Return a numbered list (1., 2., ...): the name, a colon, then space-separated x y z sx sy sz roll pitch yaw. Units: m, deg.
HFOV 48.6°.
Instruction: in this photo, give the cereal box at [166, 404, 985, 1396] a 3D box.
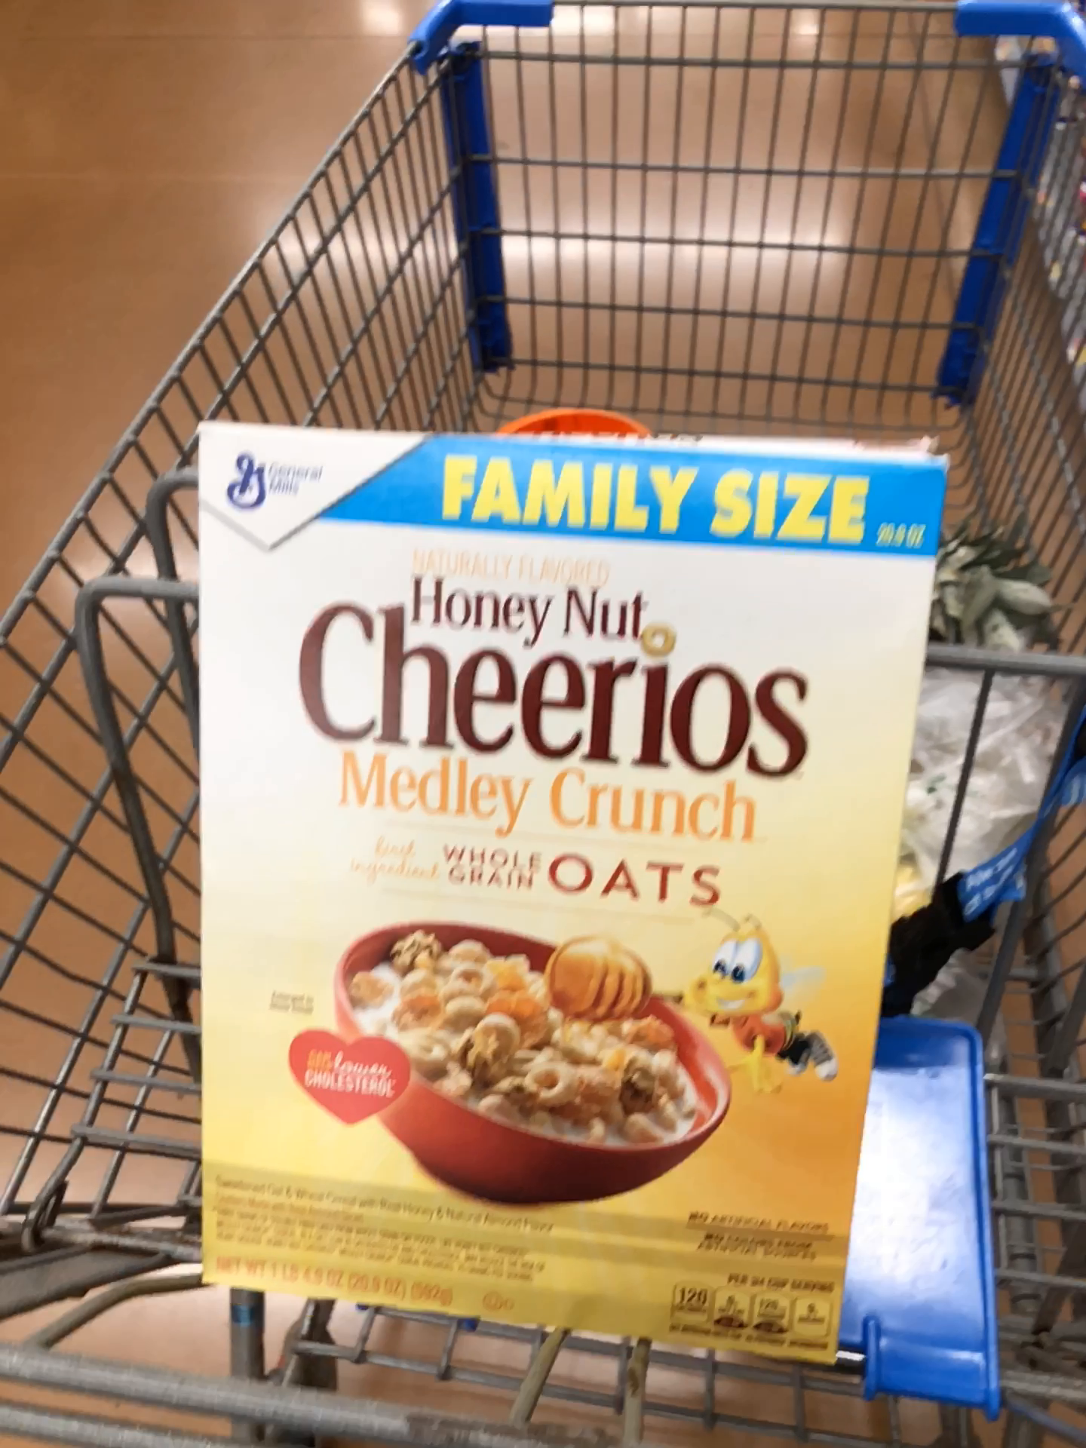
1. cereal box: 0.002 0.058 0.430 0.250 0.320 0.070 4 11 7
